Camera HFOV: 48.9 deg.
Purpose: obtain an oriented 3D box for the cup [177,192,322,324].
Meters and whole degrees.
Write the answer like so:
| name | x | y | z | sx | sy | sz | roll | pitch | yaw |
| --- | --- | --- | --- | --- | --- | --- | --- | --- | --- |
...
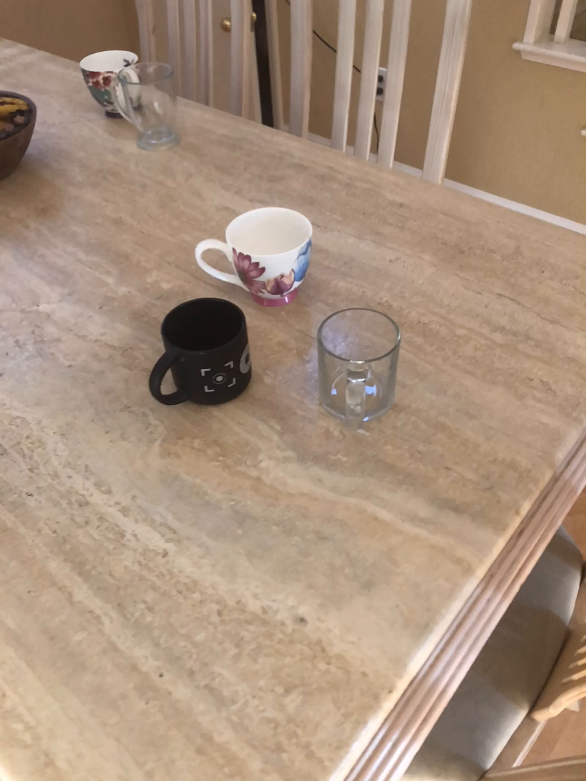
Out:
| name | x | y | z | sx | sy | sz | roll | pitch | yaw |
| --- | --- | --- | --- | --- | --- | --- | --- | --- | --- |
| cup | -0.055 | -0.171 | 0.824 | 0.160 | 0.089 | 0.121 | -11 | 47 | -7 |

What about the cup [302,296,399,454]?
| name | x | y | z | sx | sy | sz | roll | pitch | yaw |
| --- | --- | --- | --- | --- | --- | --- | --- | --- | --- |
| cup | 0.063 | -0.019 | 0.680 | 0.090 | 0.089 | 0.141 | 3 | 46 | 6 |

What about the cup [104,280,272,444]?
| name | x | y | z | sx | sy | sz | roll | pitch | yaw |
| --- | --- | --- | --- | --- | --- | --- | --- | --- | --- |
| cup | -0.112 | -0.035 | 0.715 | 0.141 | 0.089 | 0.100 | -32 | 52 | -25 |
